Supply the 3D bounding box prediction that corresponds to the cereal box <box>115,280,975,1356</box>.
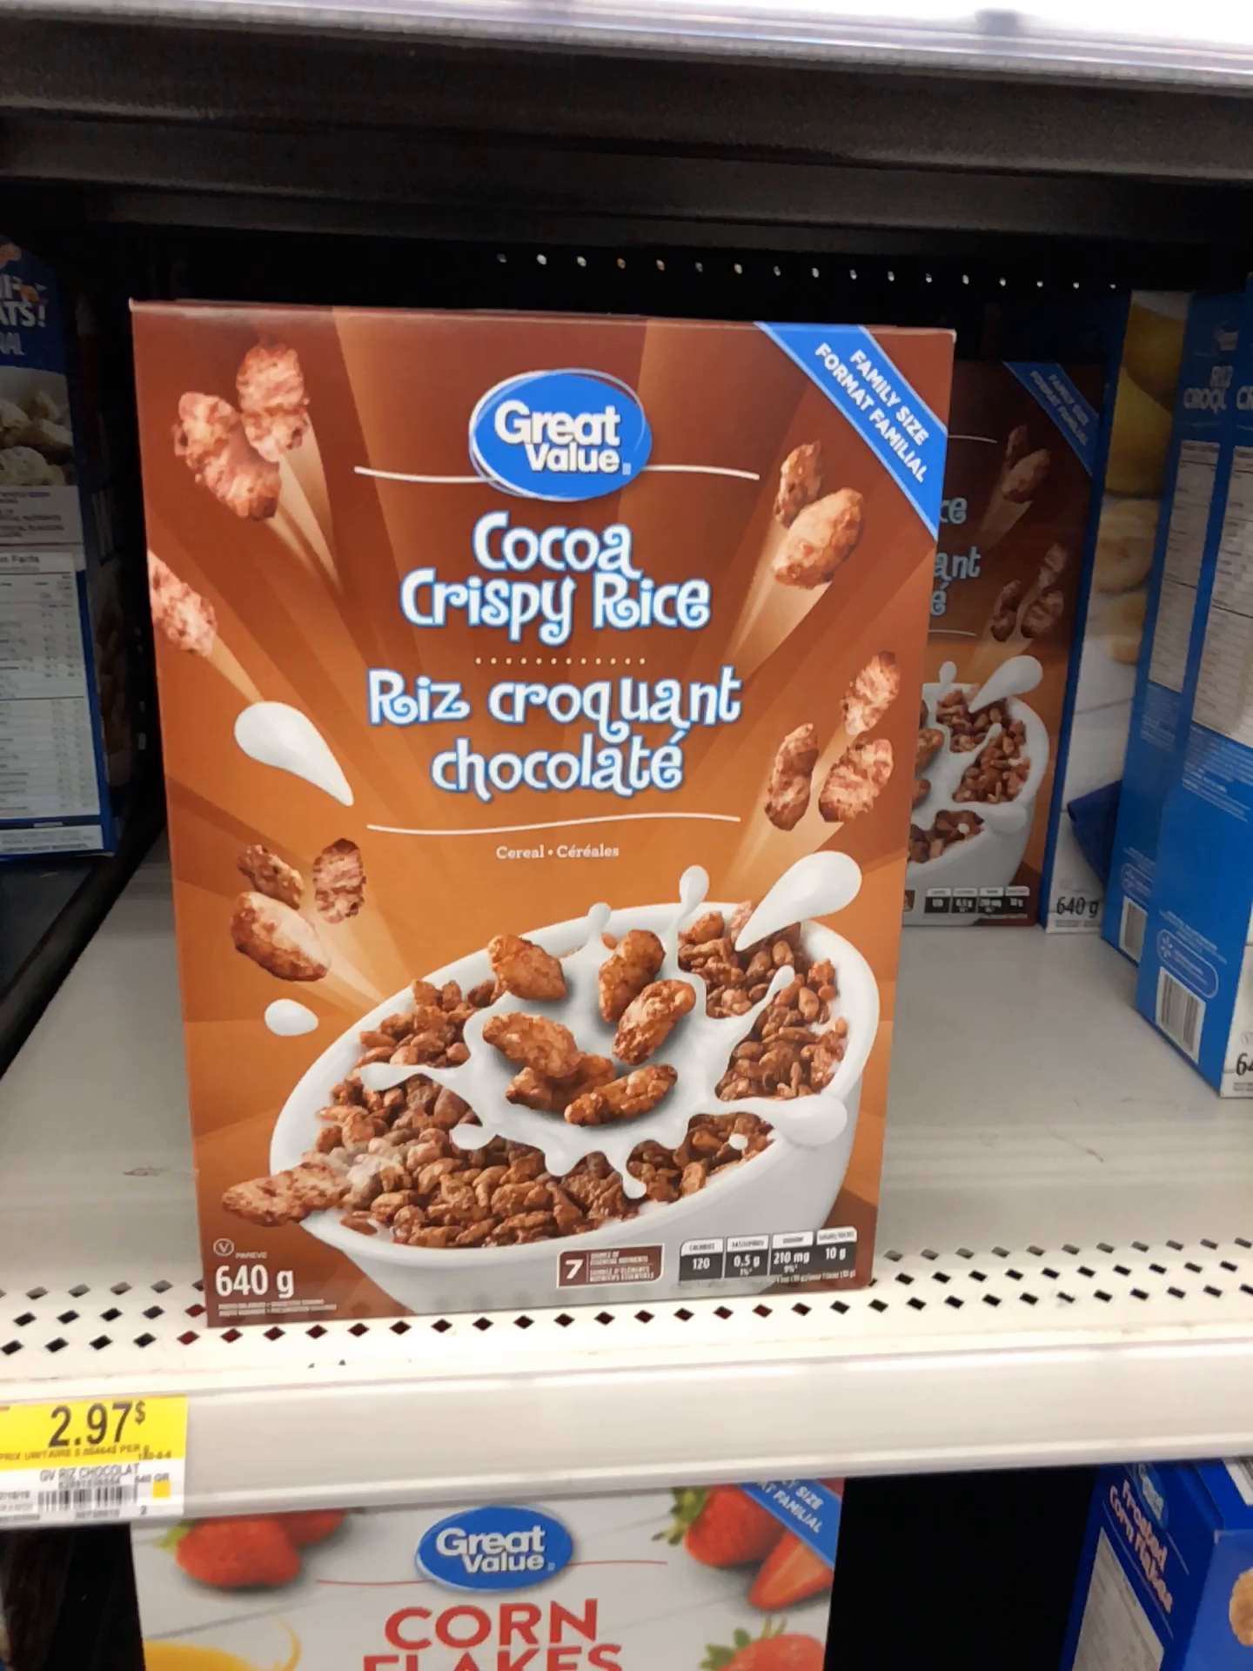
[{"bbox_3d":[-0.024,-0.002,0.419,0.210,0.298,0.080,-1,17,-8],"label":"cereal box"}]
